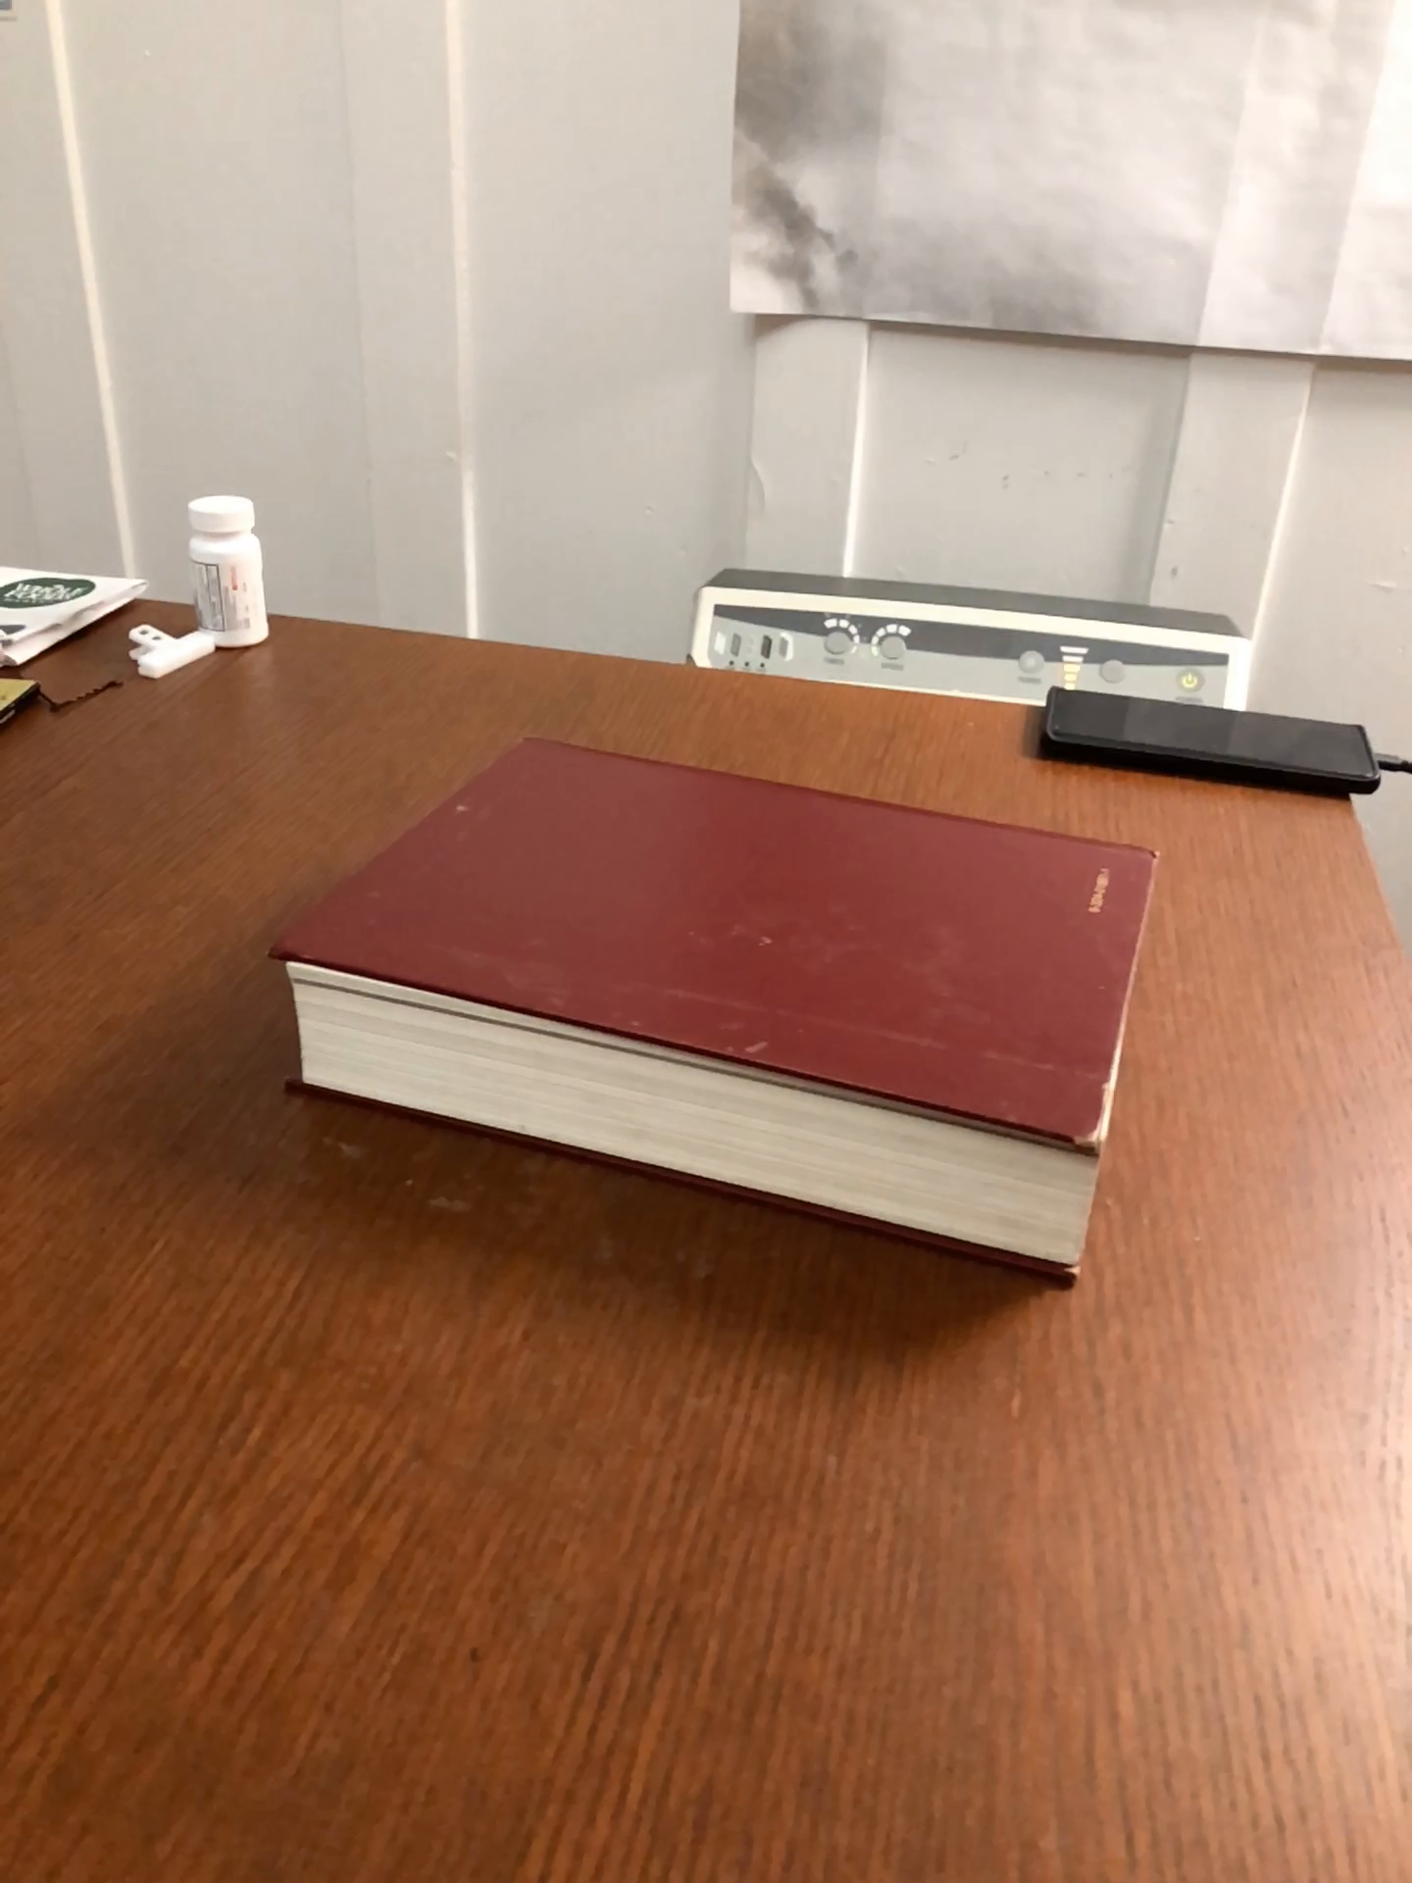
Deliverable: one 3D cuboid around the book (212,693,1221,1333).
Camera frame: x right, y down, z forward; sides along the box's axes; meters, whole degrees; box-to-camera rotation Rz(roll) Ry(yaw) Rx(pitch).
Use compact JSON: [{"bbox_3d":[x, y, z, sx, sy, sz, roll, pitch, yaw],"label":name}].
[{"bbox_3d":[0.020,0.001,0.547,0.290,0.070,0.221,12,30,16],"label":"book"}]
